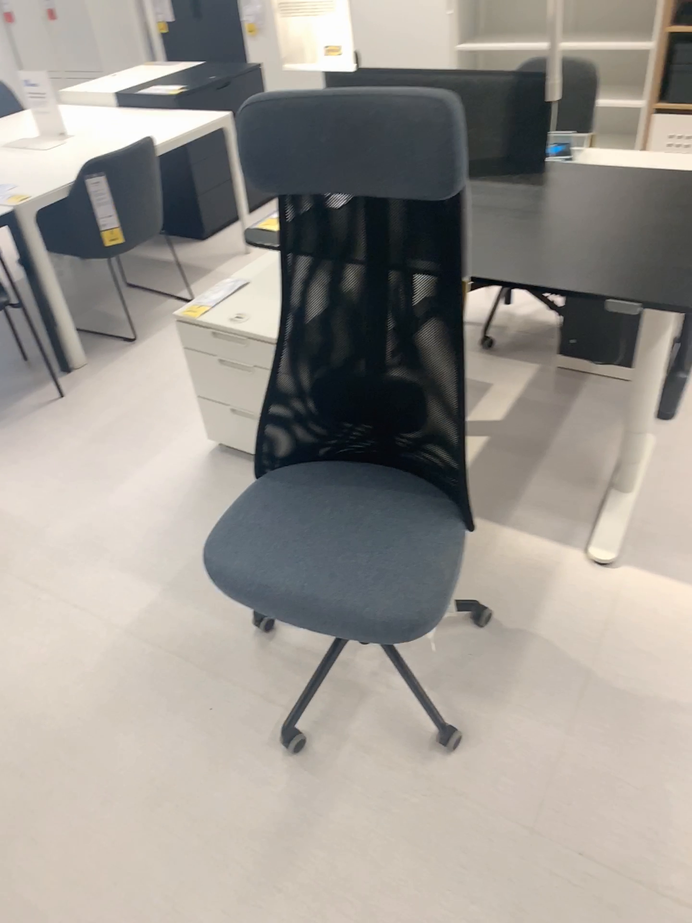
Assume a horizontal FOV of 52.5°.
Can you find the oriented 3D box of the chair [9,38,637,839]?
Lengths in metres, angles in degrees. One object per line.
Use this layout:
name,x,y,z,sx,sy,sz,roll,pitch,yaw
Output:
chair,0.077,-0.026,1.409,0.641,1.304,0.732,14,42,24
